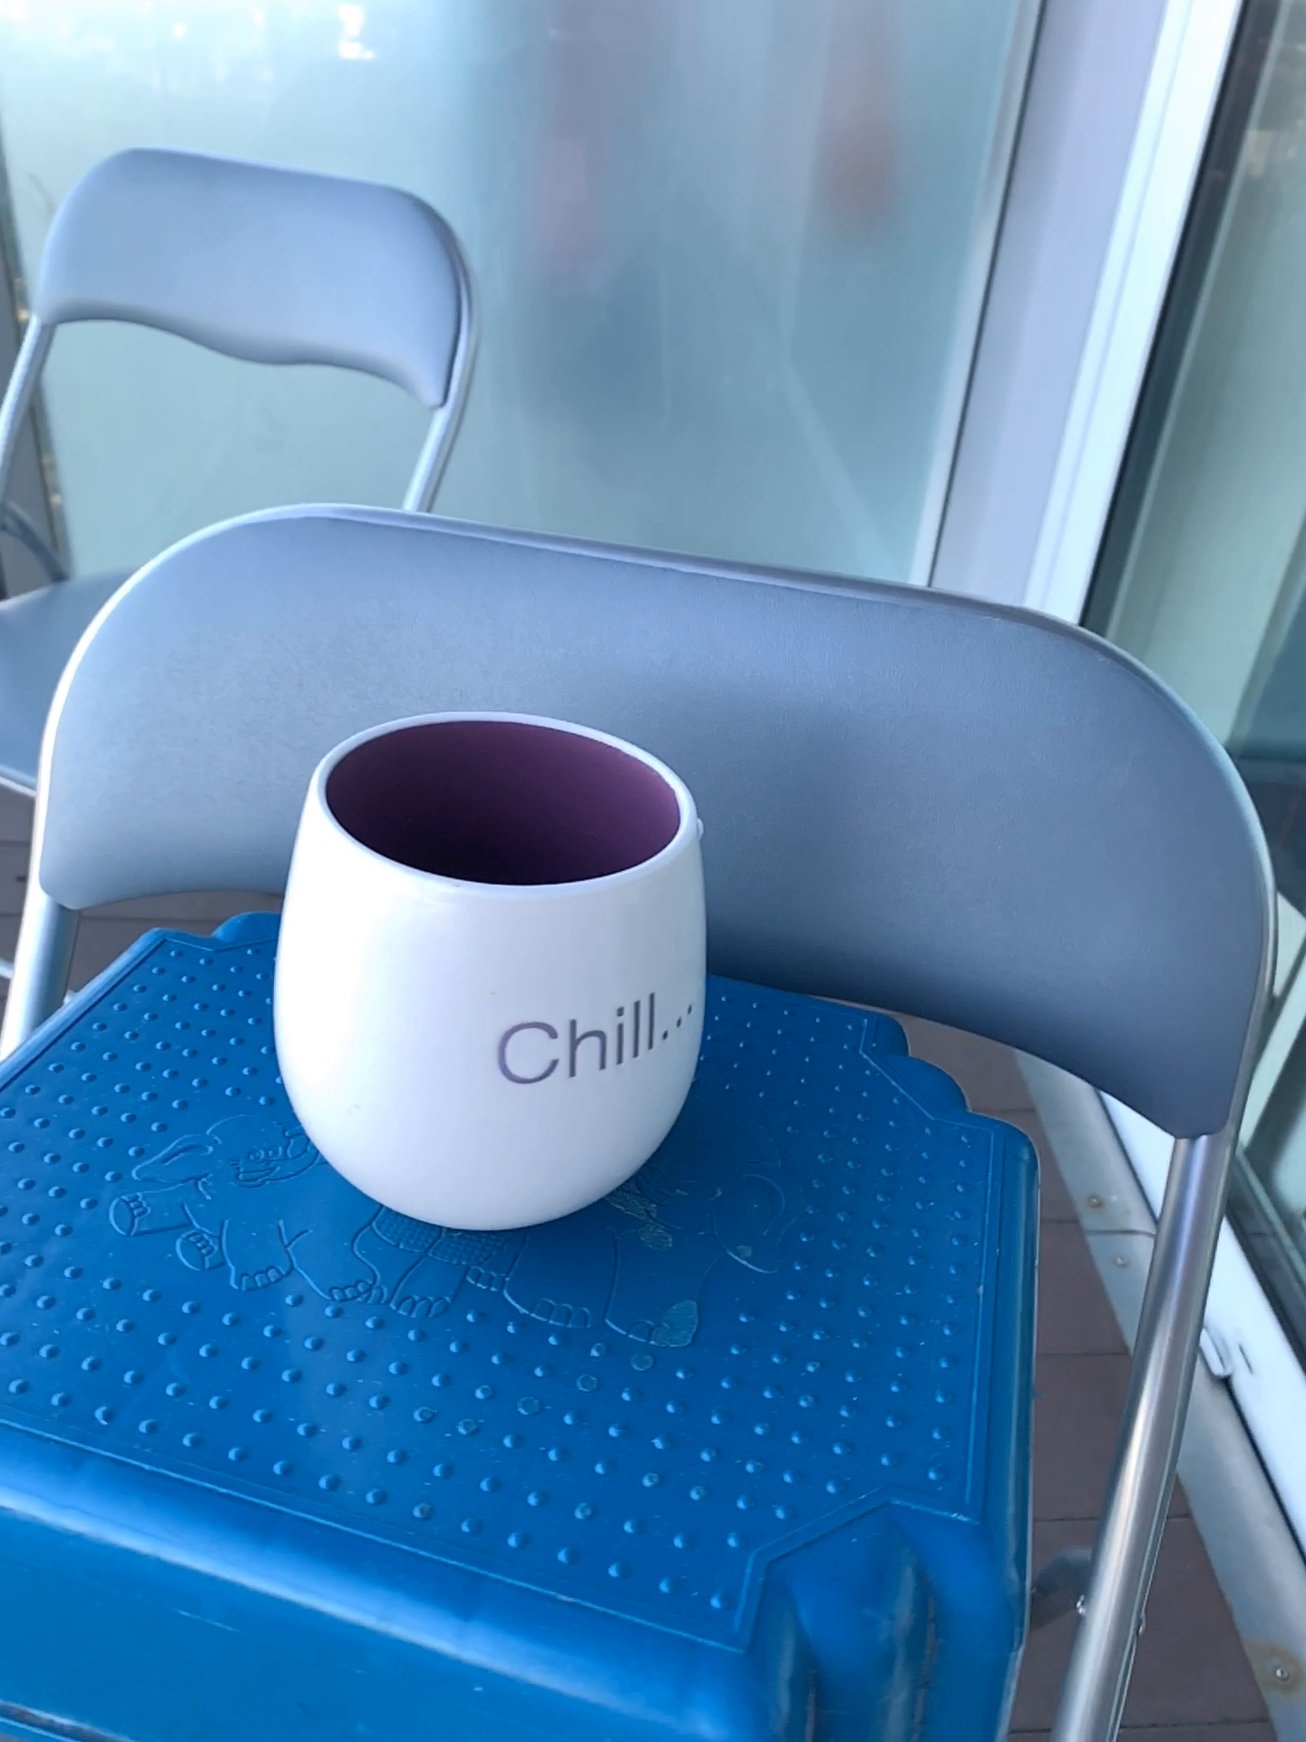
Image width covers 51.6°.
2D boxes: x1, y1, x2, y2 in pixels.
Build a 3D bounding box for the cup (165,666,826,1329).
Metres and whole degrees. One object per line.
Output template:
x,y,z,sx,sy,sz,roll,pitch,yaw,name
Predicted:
-0.040,0.021,0.334,0.105,0.090,0.111,6,31,-3,cup
